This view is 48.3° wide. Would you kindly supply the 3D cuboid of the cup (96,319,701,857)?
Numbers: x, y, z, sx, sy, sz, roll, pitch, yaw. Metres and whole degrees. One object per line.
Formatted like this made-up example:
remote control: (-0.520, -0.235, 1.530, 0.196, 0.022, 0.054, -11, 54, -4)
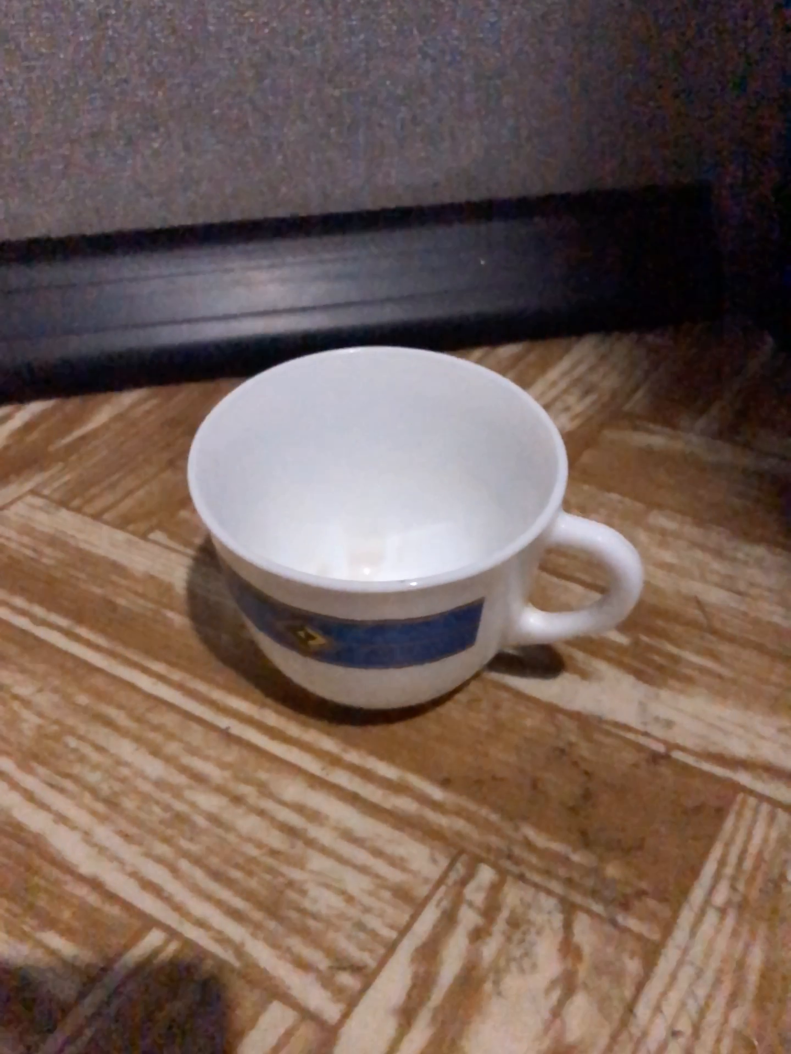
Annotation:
cup: (0.007, 0.009, 0.213, 0.110, 0.062, 0.088, 13, 45, 11)
